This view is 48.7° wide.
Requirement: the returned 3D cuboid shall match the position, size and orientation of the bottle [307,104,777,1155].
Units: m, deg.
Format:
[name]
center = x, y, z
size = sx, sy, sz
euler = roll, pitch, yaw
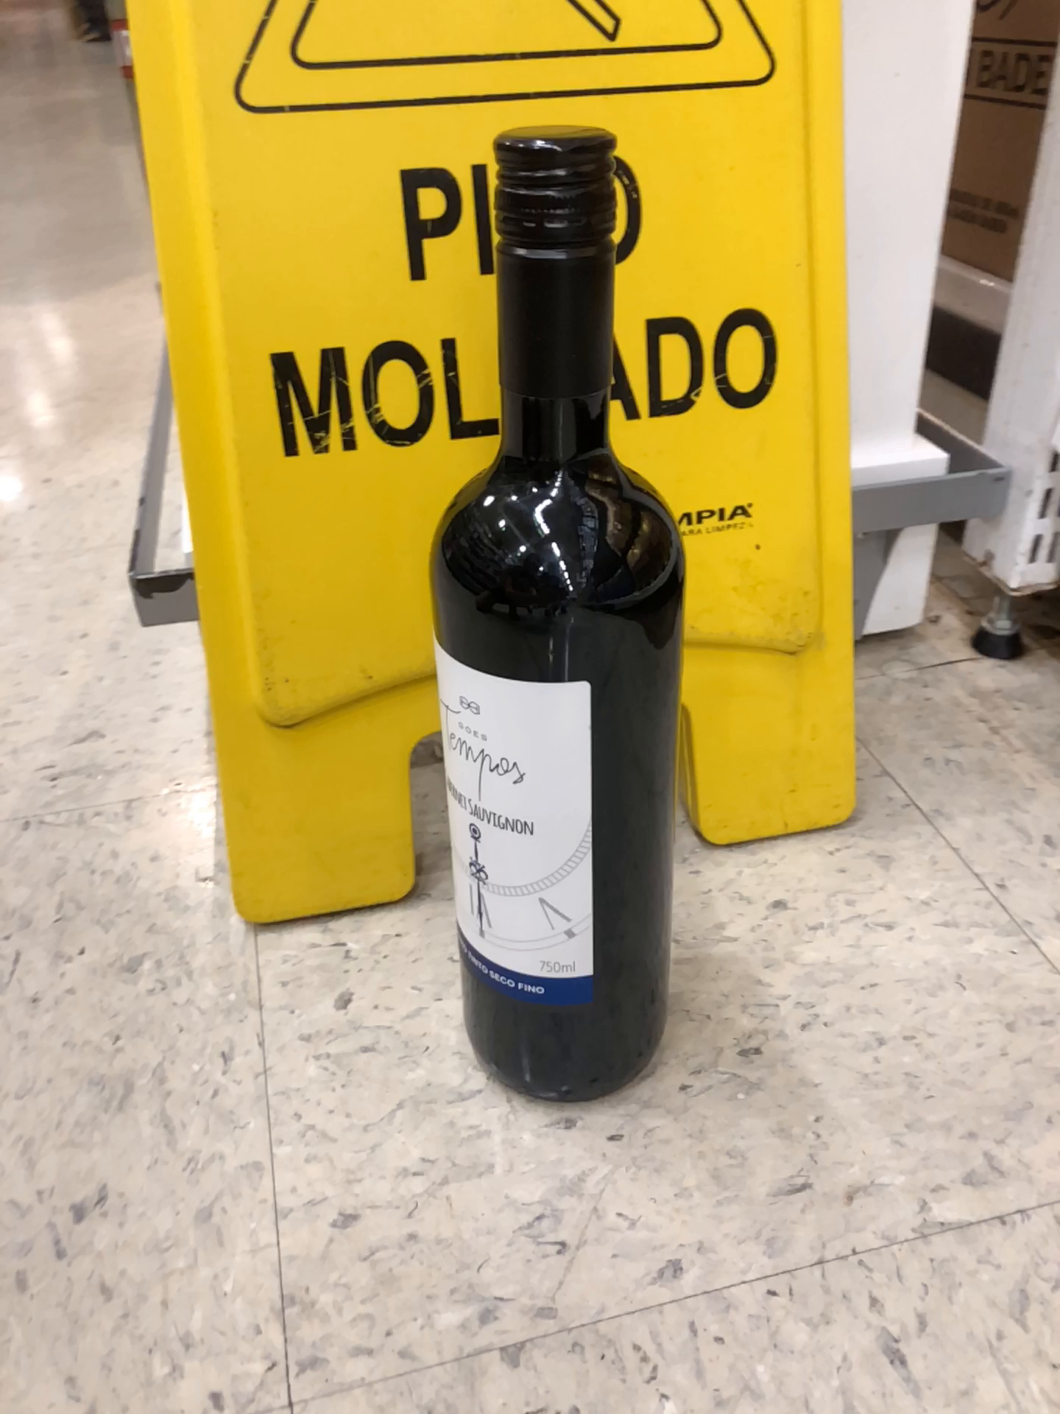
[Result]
[bottle]
center = 0.006, -0.009, 0.340
size = 0.070, 0.288, 0.080
euler = -28, 40, -35
